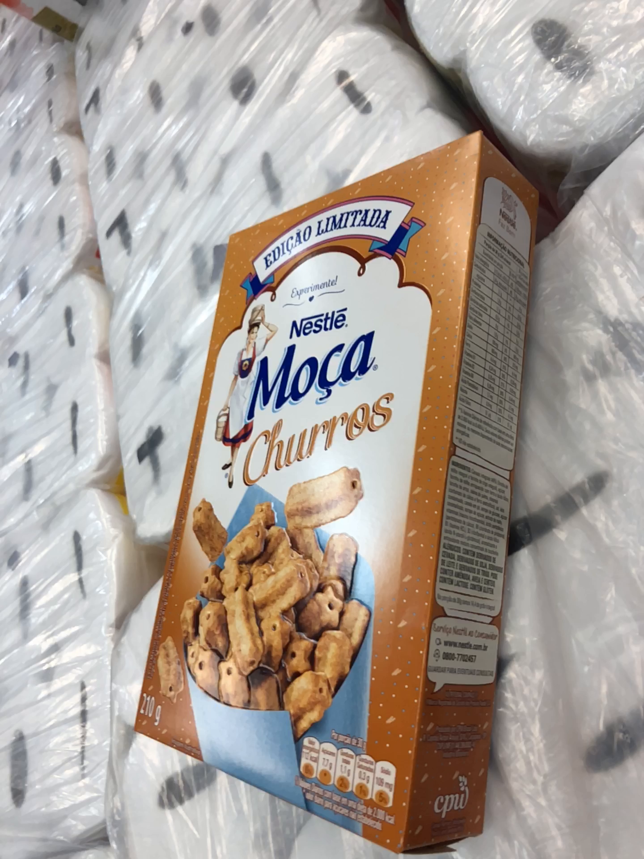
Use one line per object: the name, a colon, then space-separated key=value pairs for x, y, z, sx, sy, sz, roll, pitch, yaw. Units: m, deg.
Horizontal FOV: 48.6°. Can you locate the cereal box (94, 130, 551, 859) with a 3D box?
cereal box: x=-0.005 y=0.021 z=0.301 sx=0.171 sy=0.050 sz=0.240 roll=-5 pitch=70 yaw=45
